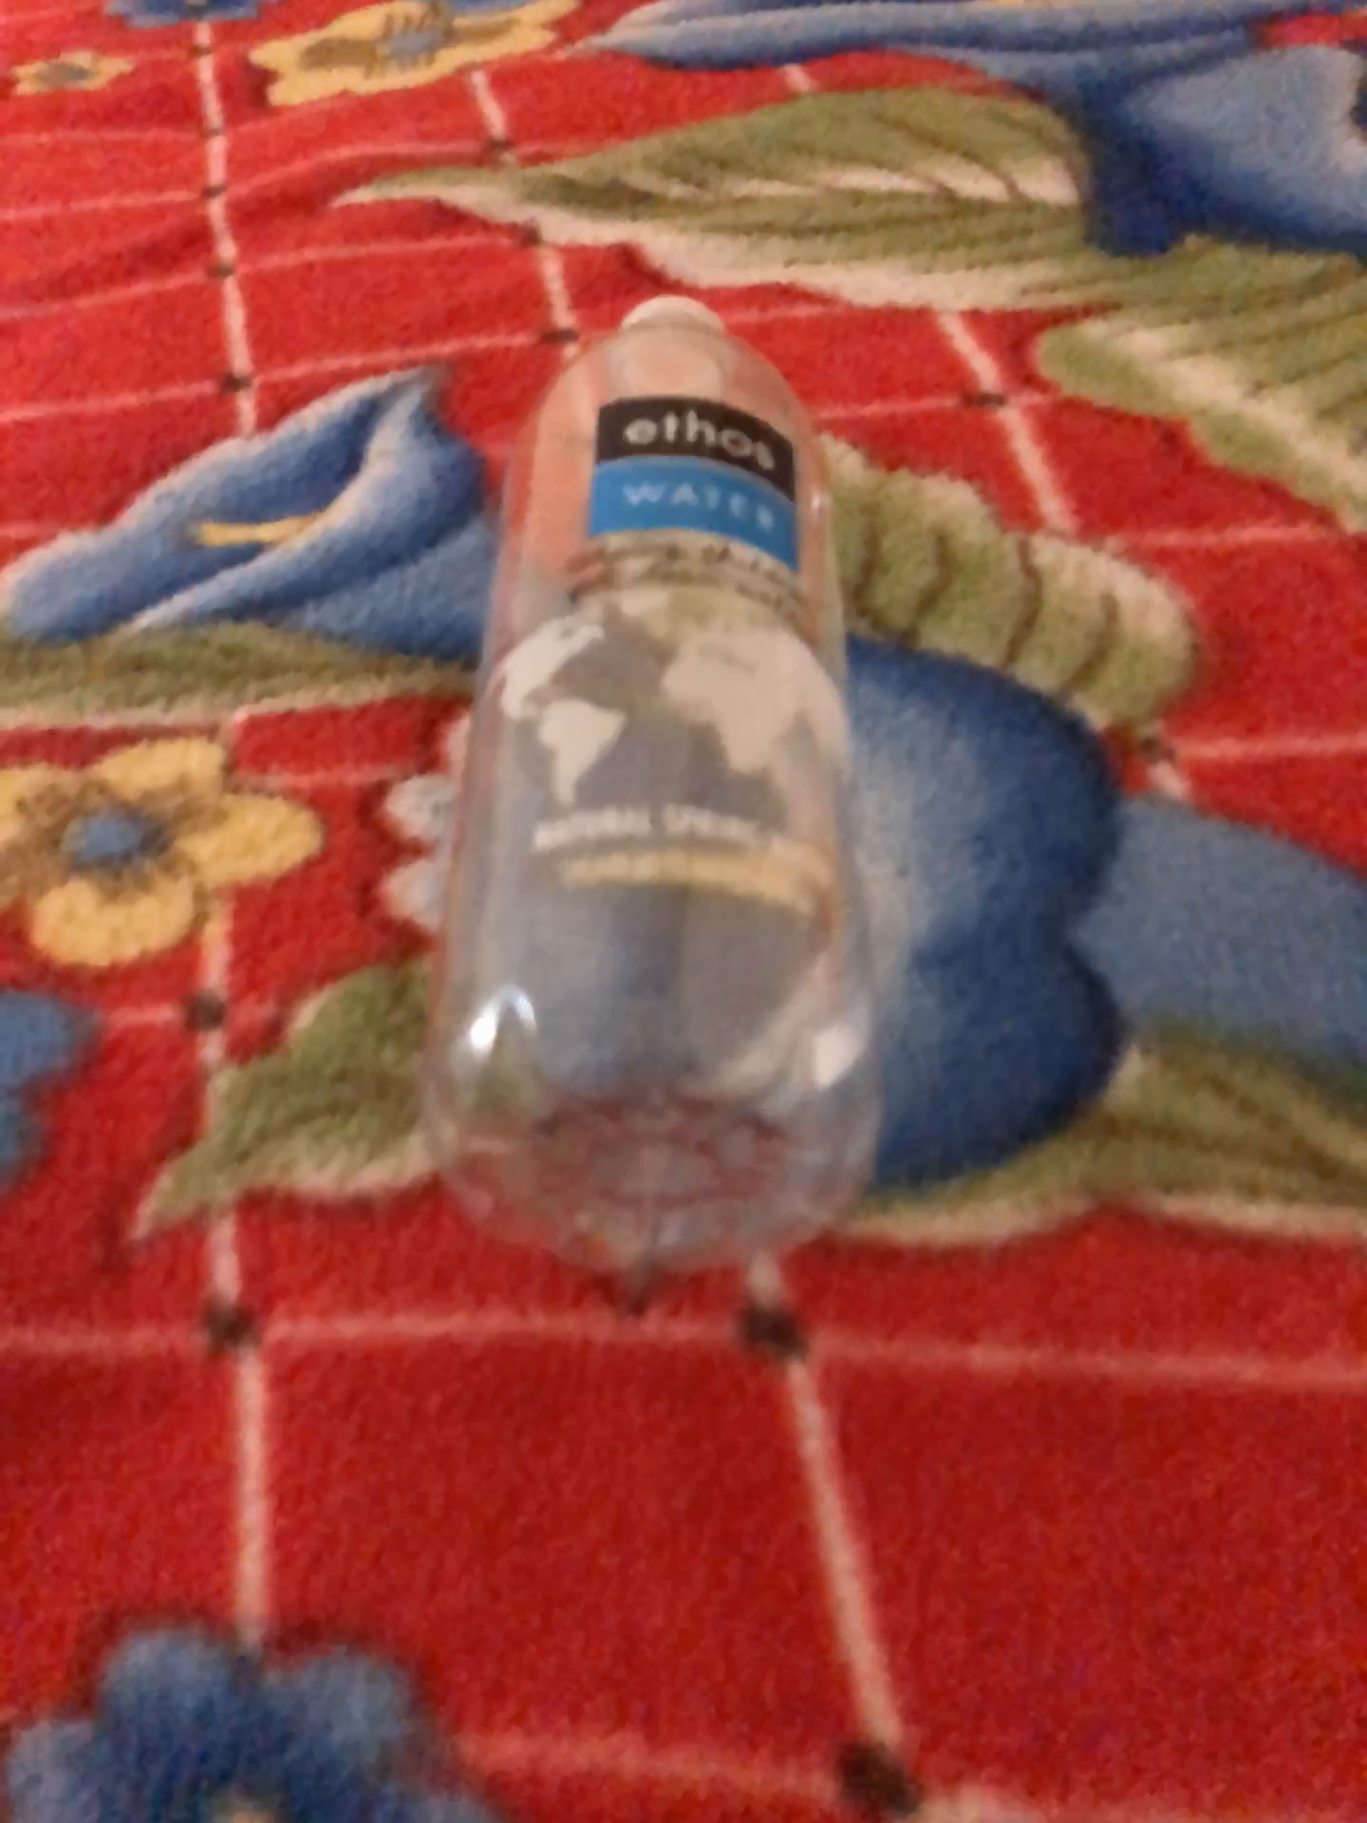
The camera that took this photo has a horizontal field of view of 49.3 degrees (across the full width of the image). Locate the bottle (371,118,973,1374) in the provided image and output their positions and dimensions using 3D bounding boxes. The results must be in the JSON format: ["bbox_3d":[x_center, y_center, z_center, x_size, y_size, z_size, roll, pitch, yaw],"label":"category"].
[{"bbox_3d":[-0.006,-0.047,0.277,0.070,0.070,0.240,7,53,-10],"label":"bottle"}]
